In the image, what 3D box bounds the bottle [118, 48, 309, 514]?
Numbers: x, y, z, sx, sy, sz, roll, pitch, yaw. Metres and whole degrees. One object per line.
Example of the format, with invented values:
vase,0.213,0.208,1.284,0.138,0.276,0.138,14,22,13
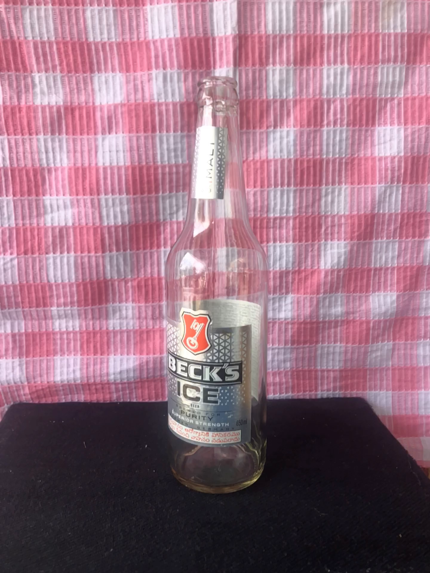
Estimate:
bottle,-0.001,-0.002,0.324,0.090,0.269,0.080,9,15,29
